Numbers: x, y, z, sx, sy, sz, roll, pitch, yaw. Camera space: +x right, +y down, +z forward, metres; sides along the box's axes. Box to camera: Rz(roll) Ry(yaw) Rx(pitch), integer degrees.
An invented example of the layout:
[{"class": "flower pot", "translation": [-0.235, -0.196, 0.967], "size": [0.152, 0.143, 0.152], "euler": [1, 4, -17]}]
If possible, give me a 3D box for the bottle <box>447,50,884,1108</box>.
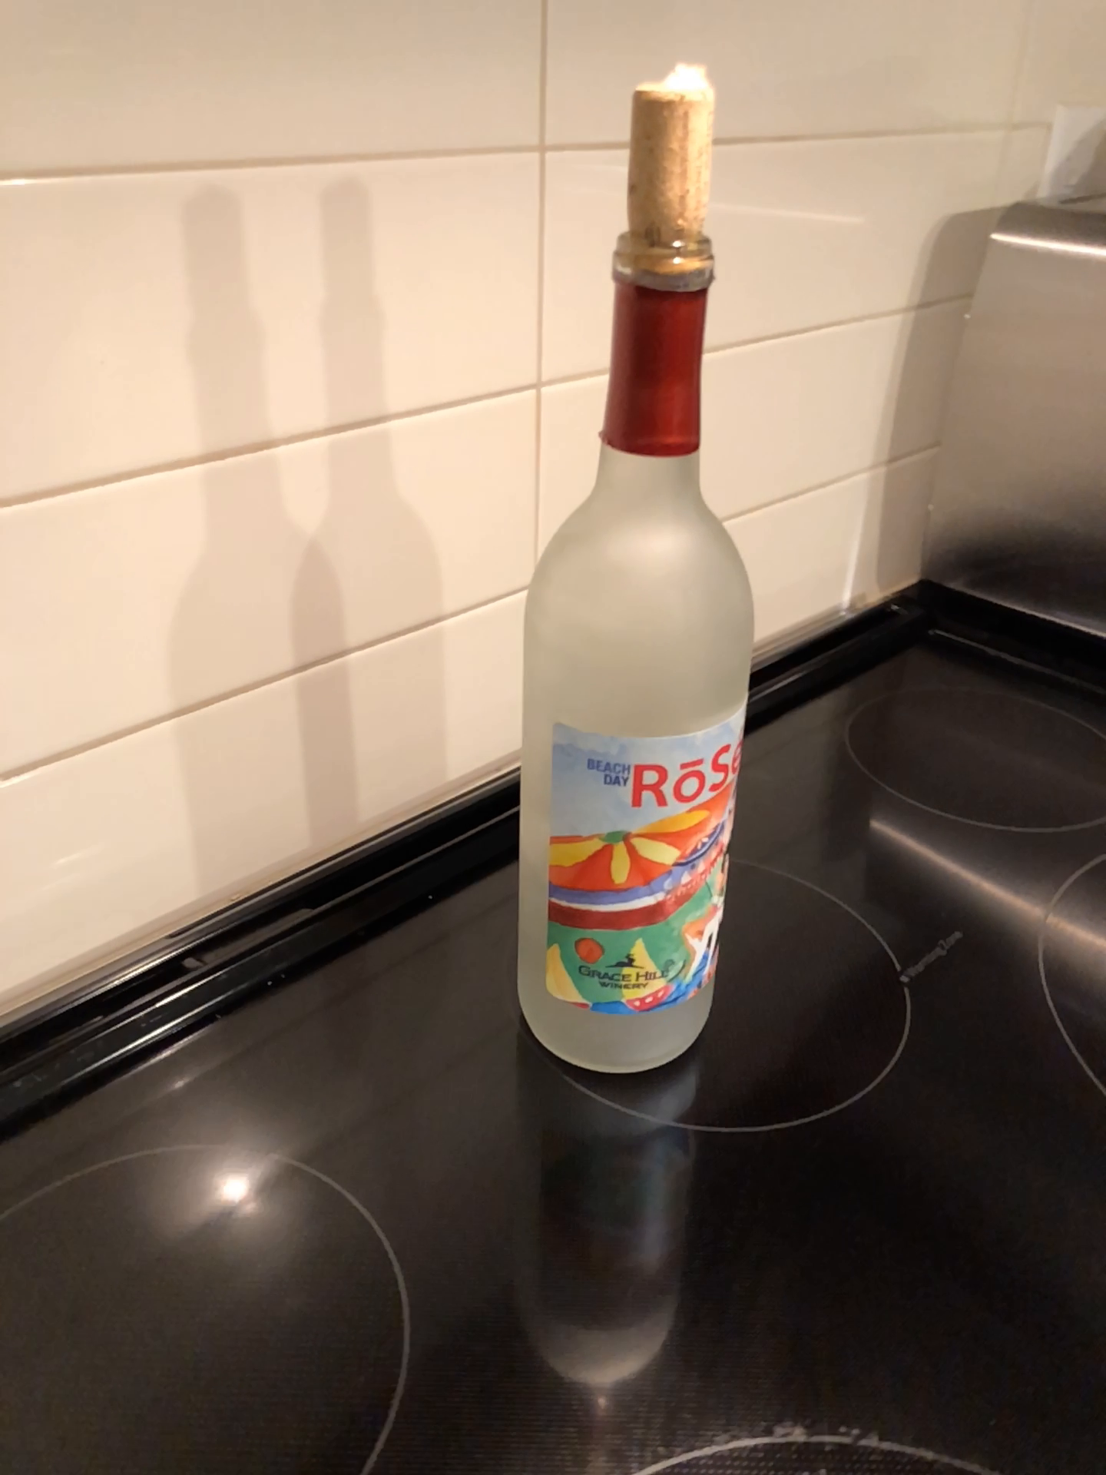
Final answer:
[{"class": "bottle", "translation": [0.024, -0.038, 0.395], "size": [0.080, 0.318, 0.080], "euler": [1, 29, -1]}]
